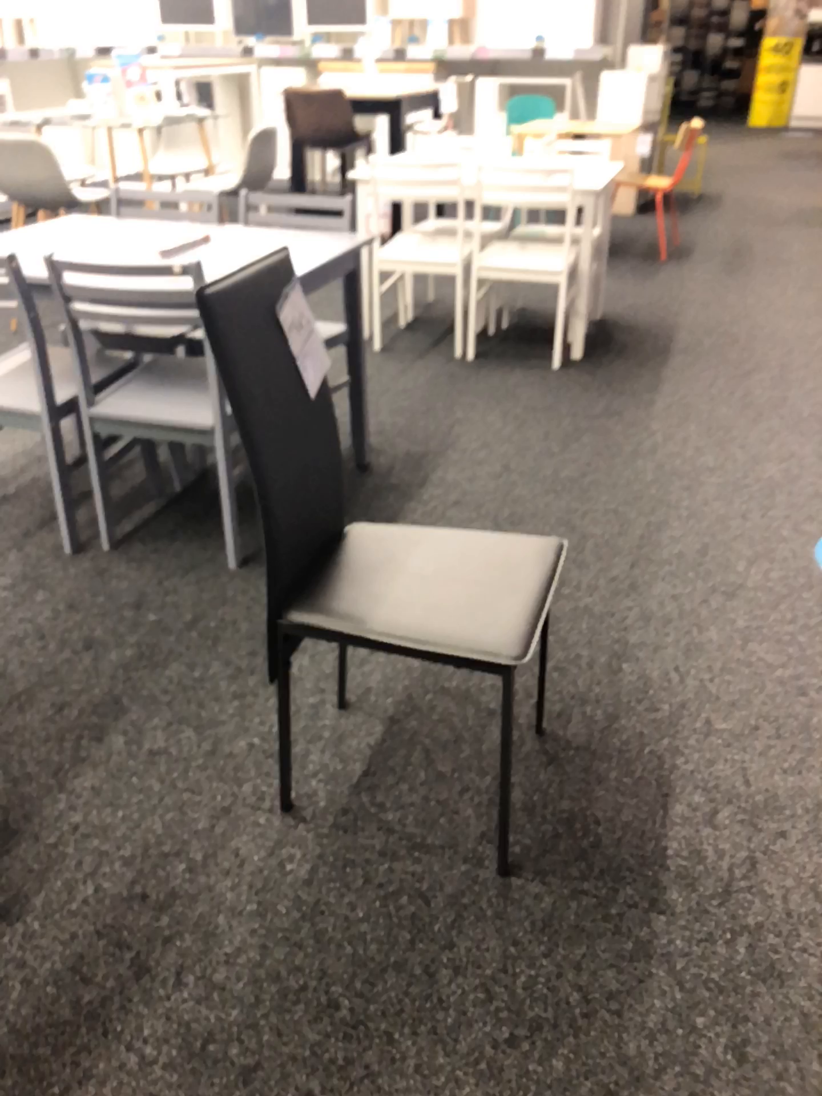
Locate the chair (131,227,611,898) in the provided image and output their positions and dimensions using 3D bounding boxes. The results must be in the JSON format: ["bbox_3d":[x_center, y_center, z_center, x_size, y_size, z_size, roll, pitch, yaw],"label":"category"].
[{"bbox_3d":[-0.024,0.008,1.520,0.560,0.935,0.473,8,30,15],"label":"chair"}]
